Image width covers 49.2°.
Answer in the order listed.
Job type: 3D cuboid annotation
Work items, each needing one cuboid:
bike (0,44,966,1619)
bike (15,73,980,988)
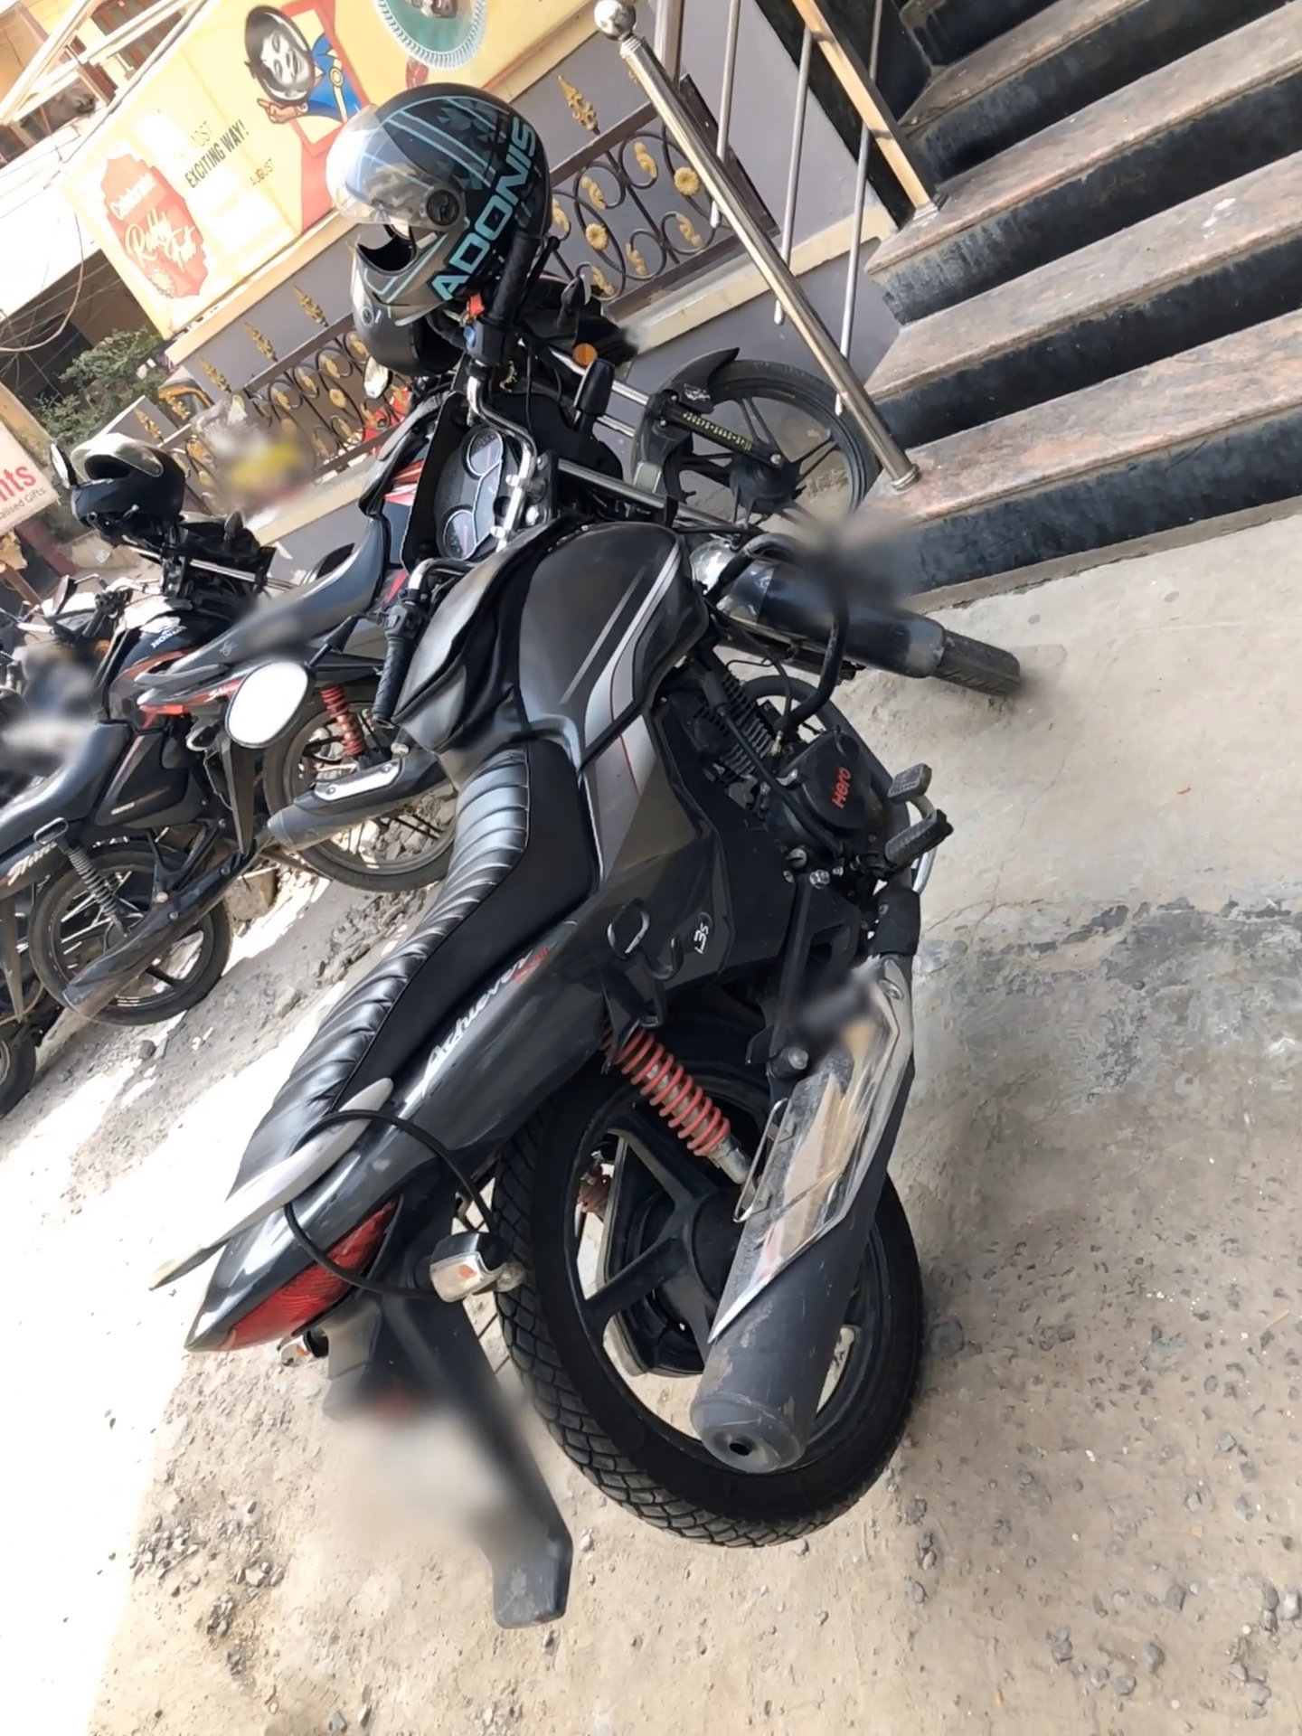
[{"bbox_3d":[-0.207,-0.150,1.994,0.747,1.156,1.742,-24,34,30],"label":"bike"},{"bbox_3d":[-0.334,-0.708,3.143,1.599,1.057,0.687,-38,26,2],"label":"bike"}]
